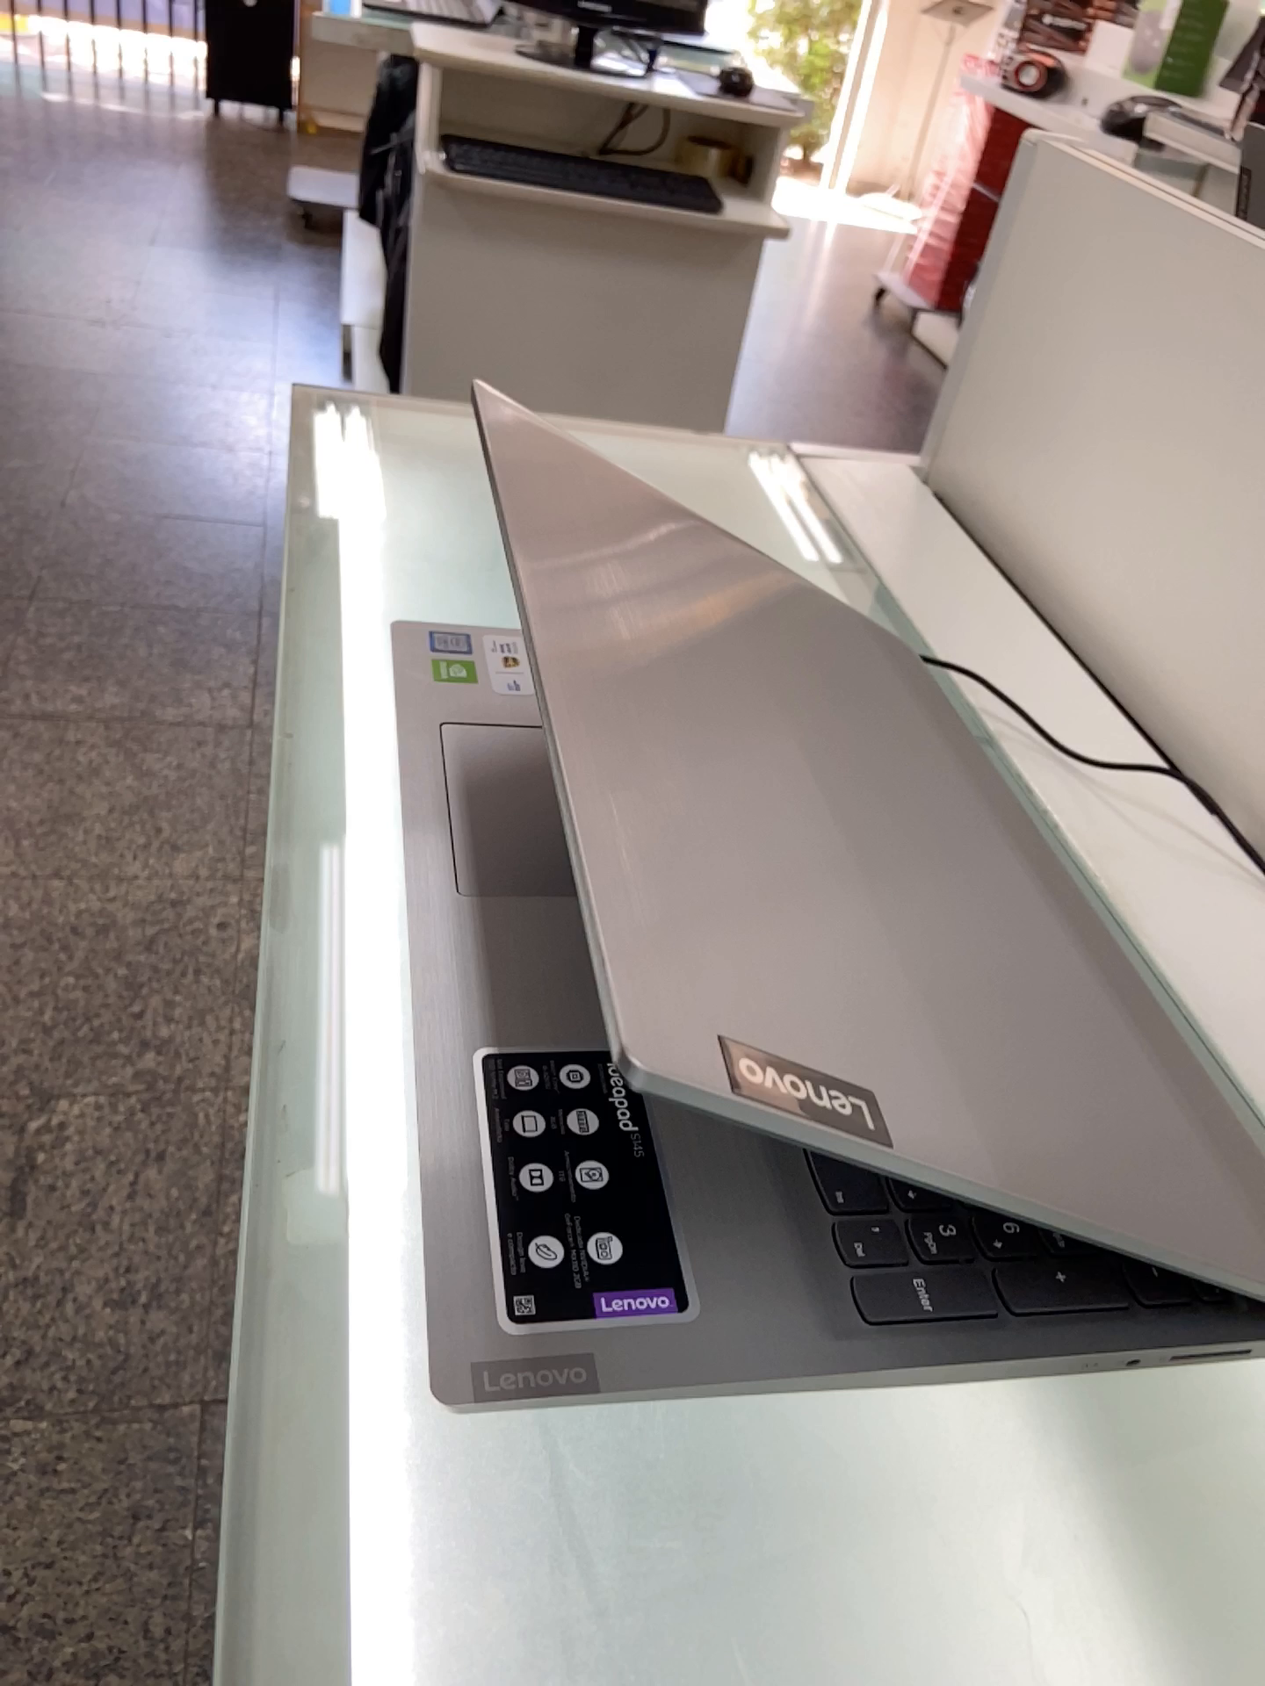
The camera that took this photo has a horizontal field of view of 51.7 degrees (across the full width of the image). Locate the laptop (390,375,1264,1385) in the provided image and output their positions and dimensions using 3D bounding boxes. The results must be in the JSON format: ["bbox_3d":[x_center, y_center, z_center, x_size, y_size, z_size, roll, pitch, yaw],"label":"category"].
[{"bbox_3d":[0.052,-0.027,0.425,0.239,0.103,0.355,1,37,-14],"label":"laptop"}]
